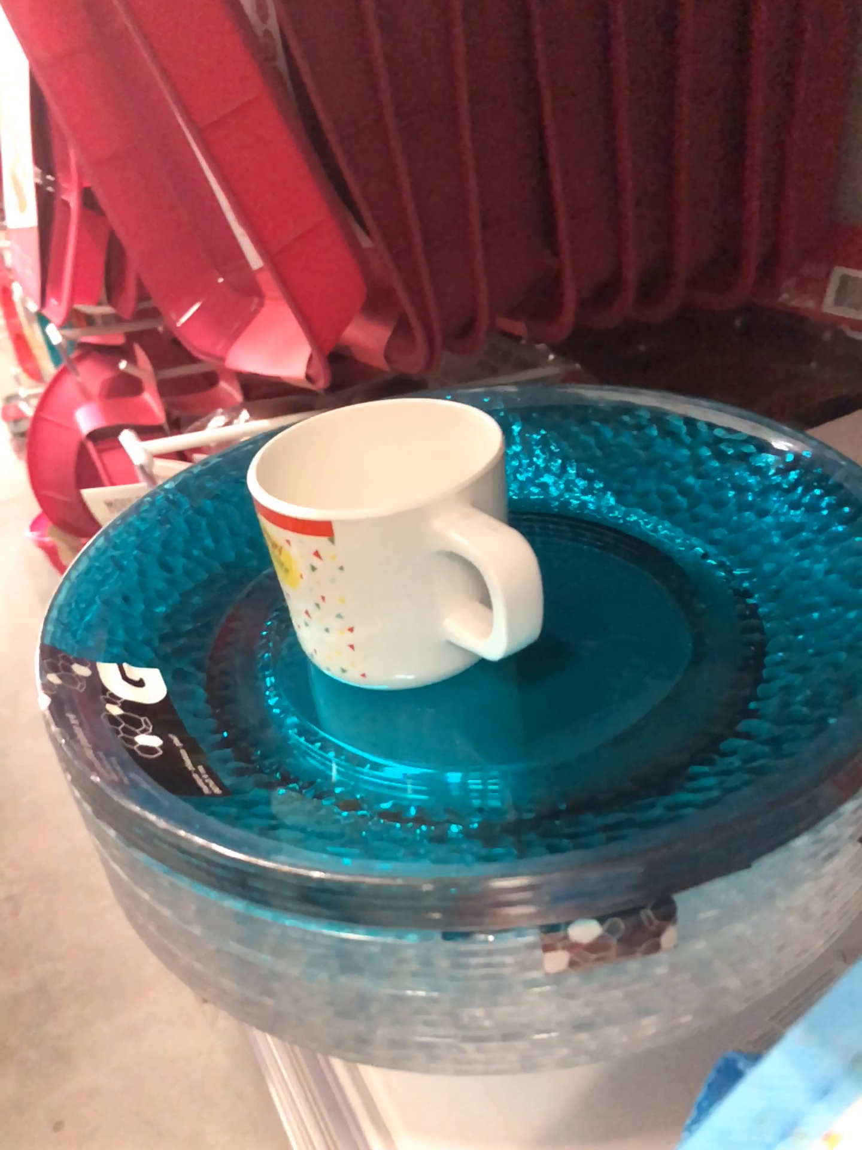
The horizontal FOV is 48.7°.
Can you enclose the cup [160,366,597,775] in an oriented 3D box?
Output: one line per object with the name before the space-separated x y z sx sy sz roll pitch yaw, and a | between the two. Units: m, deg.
cup | -0.017 -0.009 0.280 0.077 0.059 0.102 -27 37 -25
